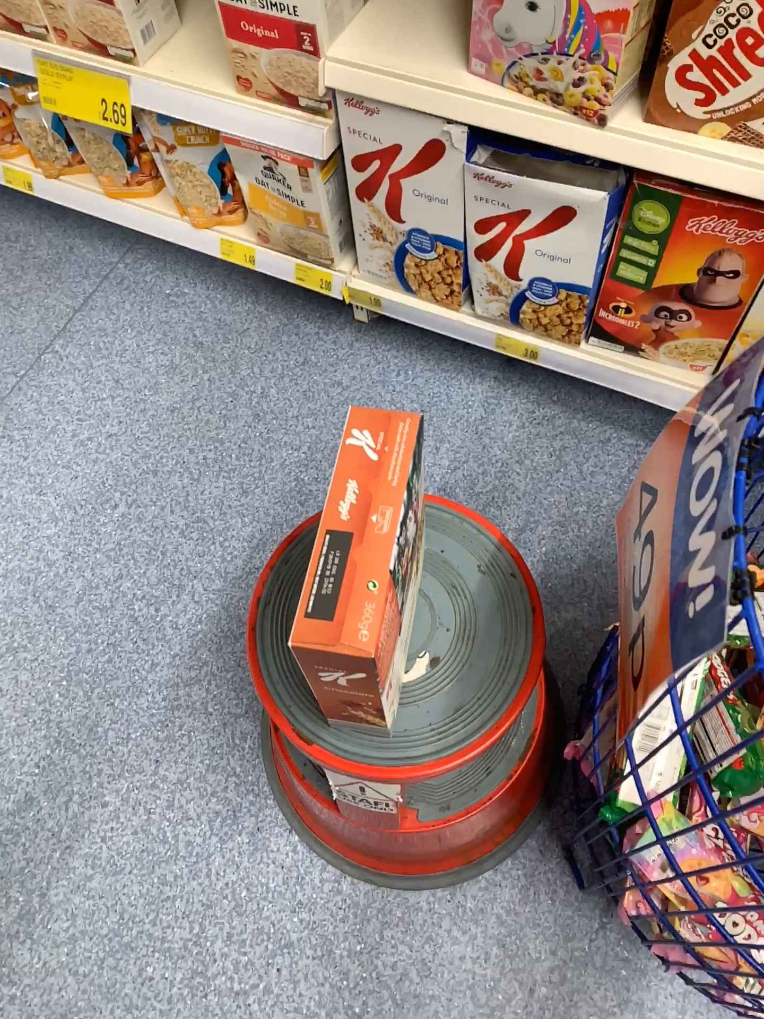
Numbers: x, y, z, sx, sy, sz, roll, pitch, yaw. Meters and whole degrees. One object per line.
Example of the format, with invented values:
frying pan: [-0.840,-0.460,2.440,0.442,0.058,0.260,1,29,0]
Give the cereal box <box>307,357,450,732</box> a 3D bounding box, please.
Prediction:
cereal box: [0.009,0.045,0.644,0.060,0.268,0.211,8,63,8]
